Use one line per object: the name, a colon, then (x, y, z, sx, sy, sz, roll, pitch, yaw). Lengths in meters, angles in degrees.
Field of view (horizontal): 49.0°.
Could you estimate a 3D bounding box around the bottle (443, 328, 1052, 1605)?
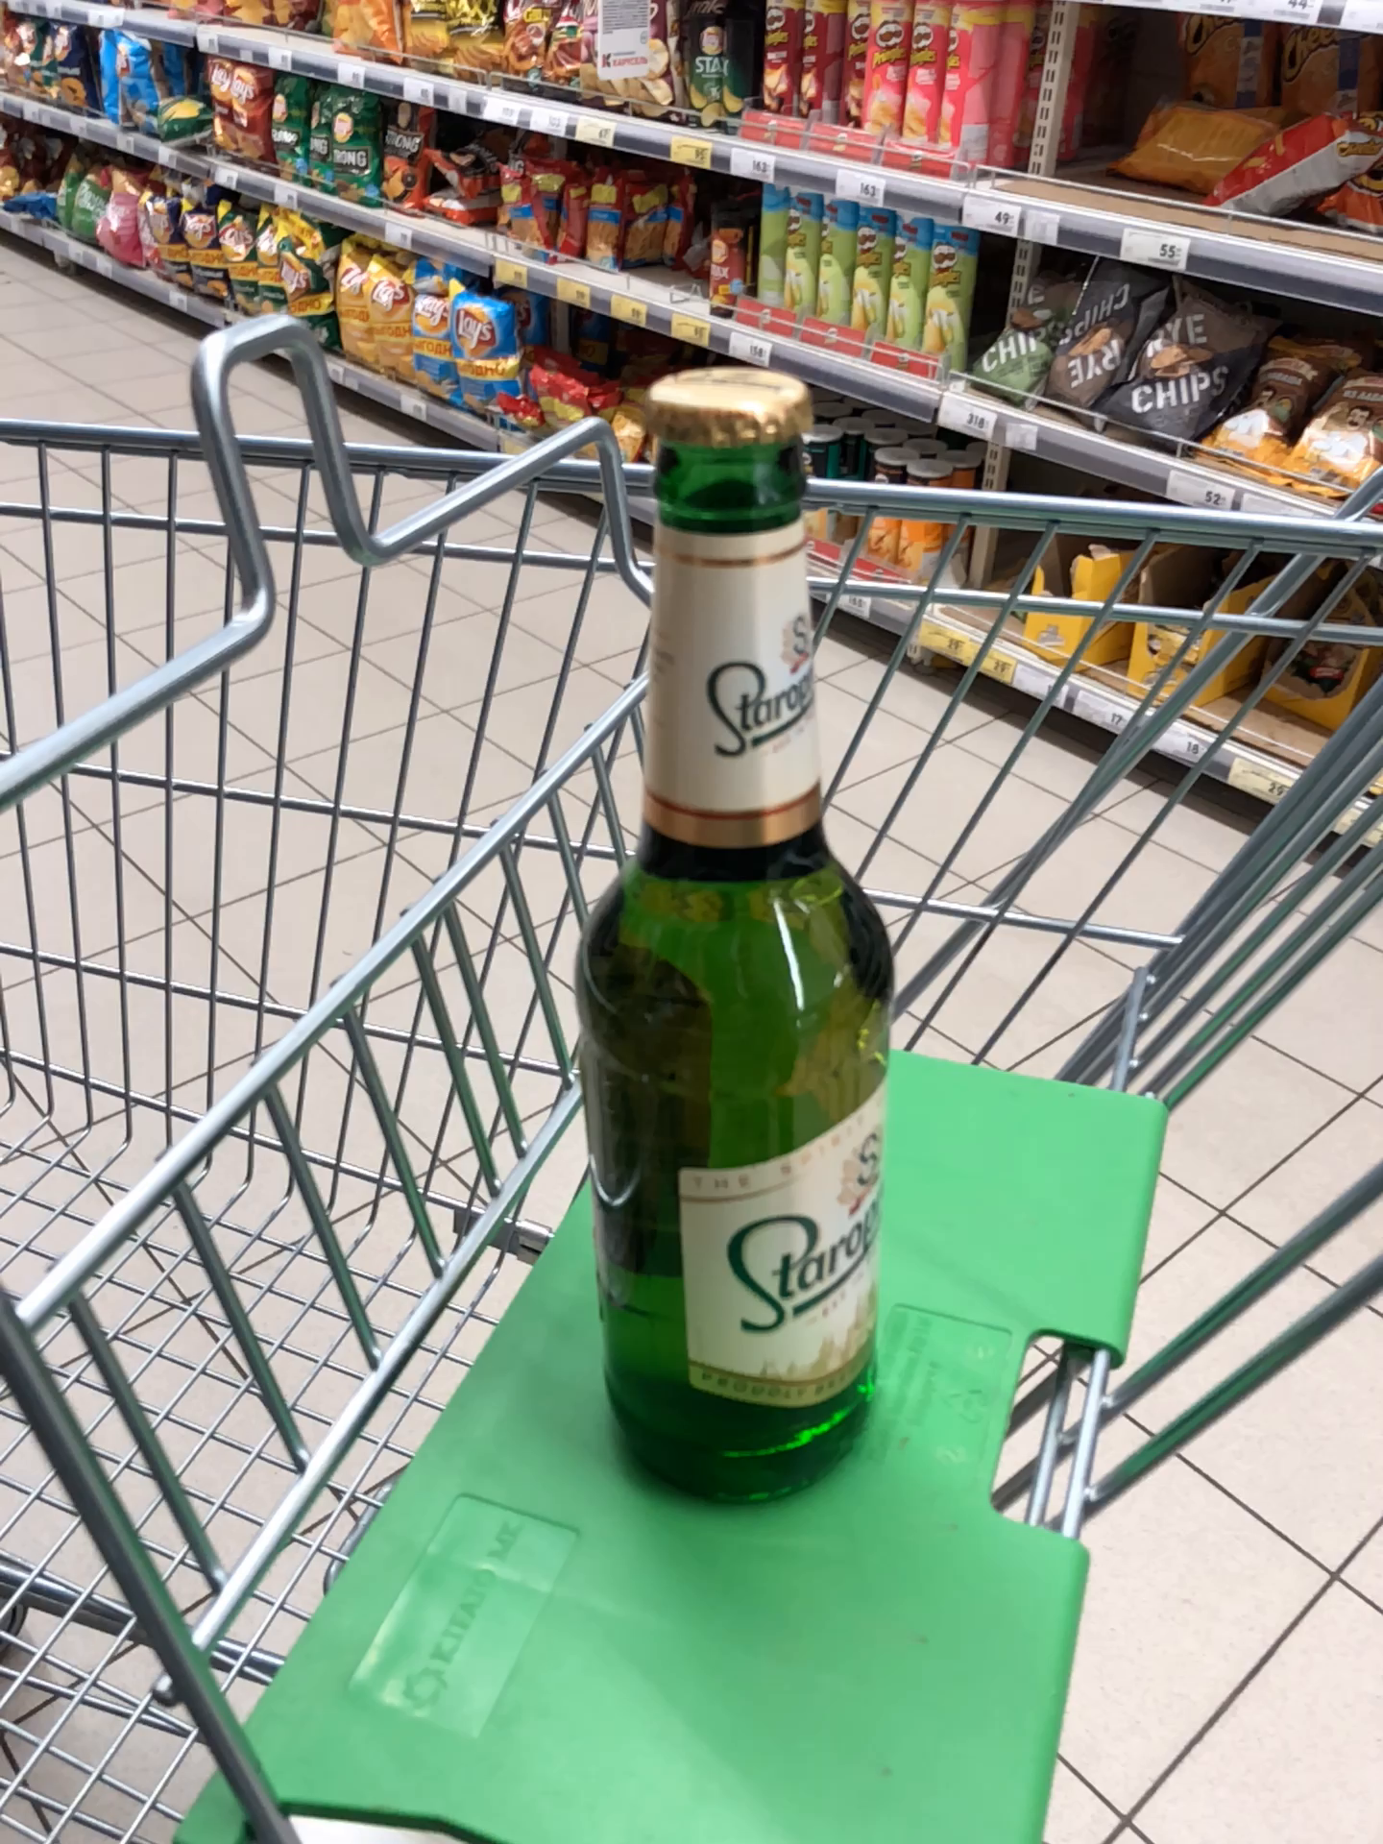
bottle: (0.012, 0.019, 0.298, 0.070, 0.239, 0.070, 0, 33, 0)
